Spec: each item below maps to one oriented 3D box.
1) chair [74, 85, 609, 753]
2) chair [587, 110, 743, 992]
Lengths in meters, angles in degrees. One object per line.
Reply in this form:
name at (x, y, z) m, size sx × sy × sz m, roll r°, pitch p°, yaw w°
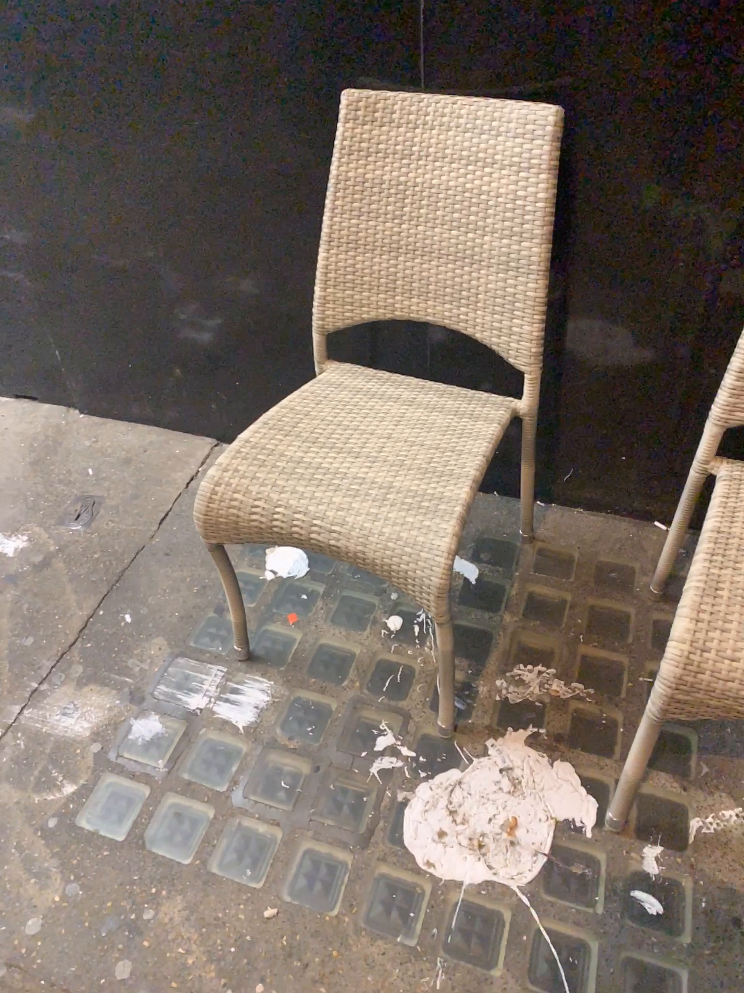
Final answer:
chair at (0.030, -0.136, 1.265) m, size 0.481 × 0.831 × 0.615 m, roll 14°, pitch 45°, yaw 21°
chair at (0.723, 0.043, 1.017) m, size 0.581 × 0.901 × 0.604 m, roll 16°, pitch 38°, yaw 22°
